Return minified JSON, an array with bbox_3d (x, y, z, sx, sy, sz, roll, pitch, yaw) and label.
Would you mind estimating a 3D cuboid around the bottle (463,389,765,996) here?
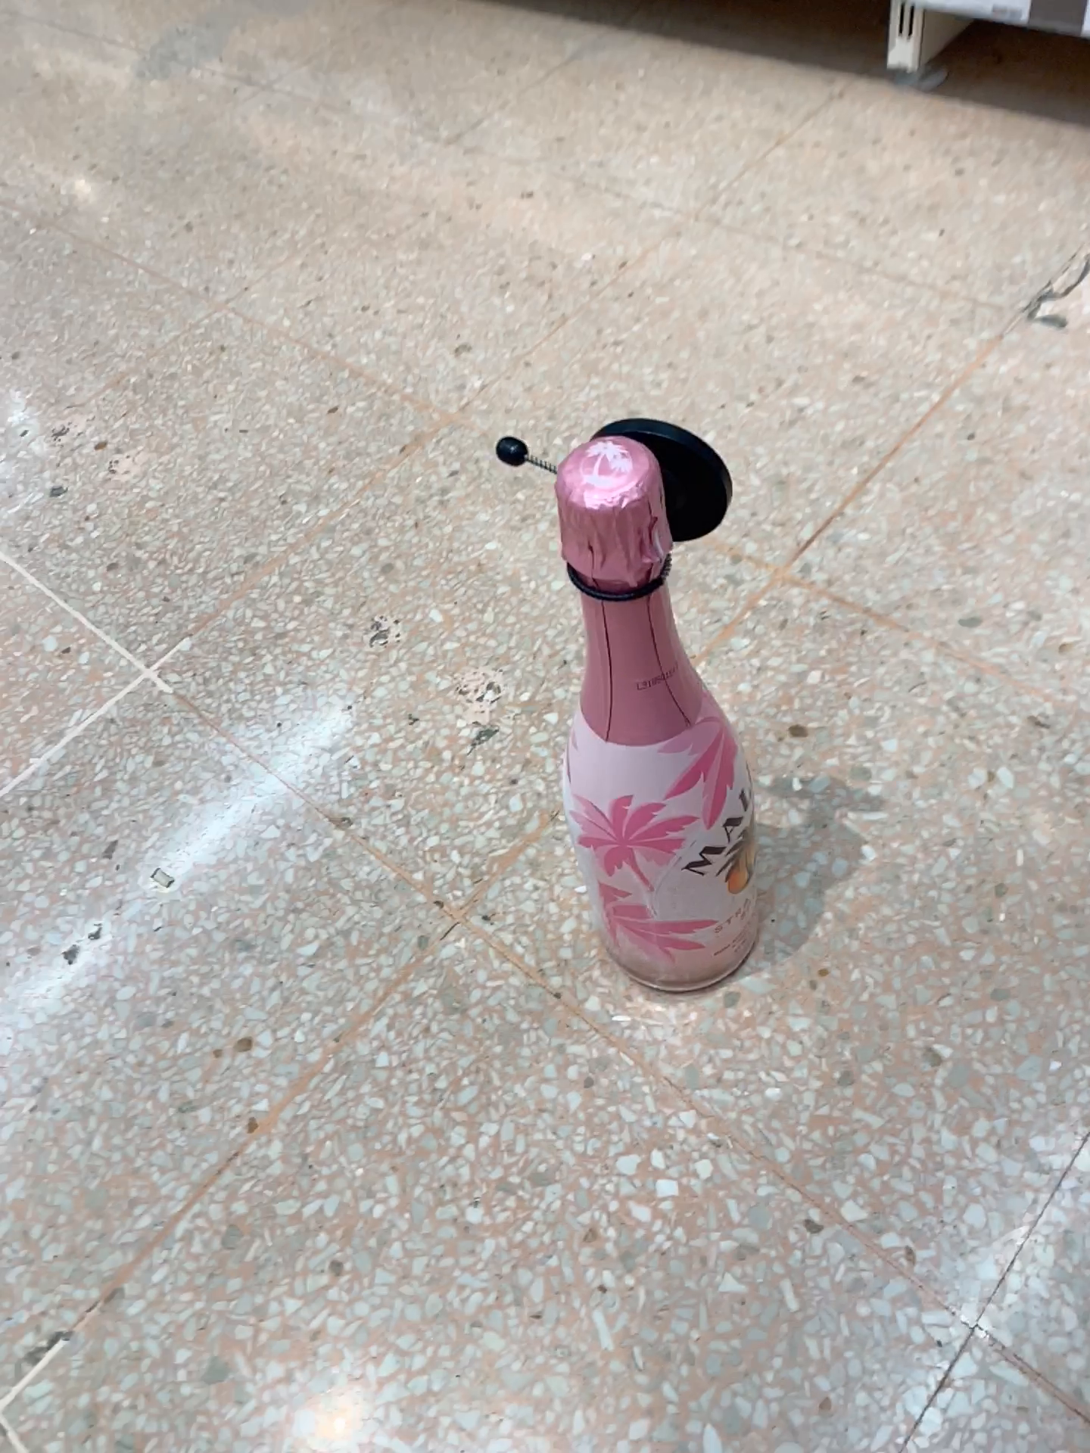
[{"bbox_3d":[0.045,0.011,0.446,0.080,0.286,0.081,-6,53,8],"label":"bottle"}]
